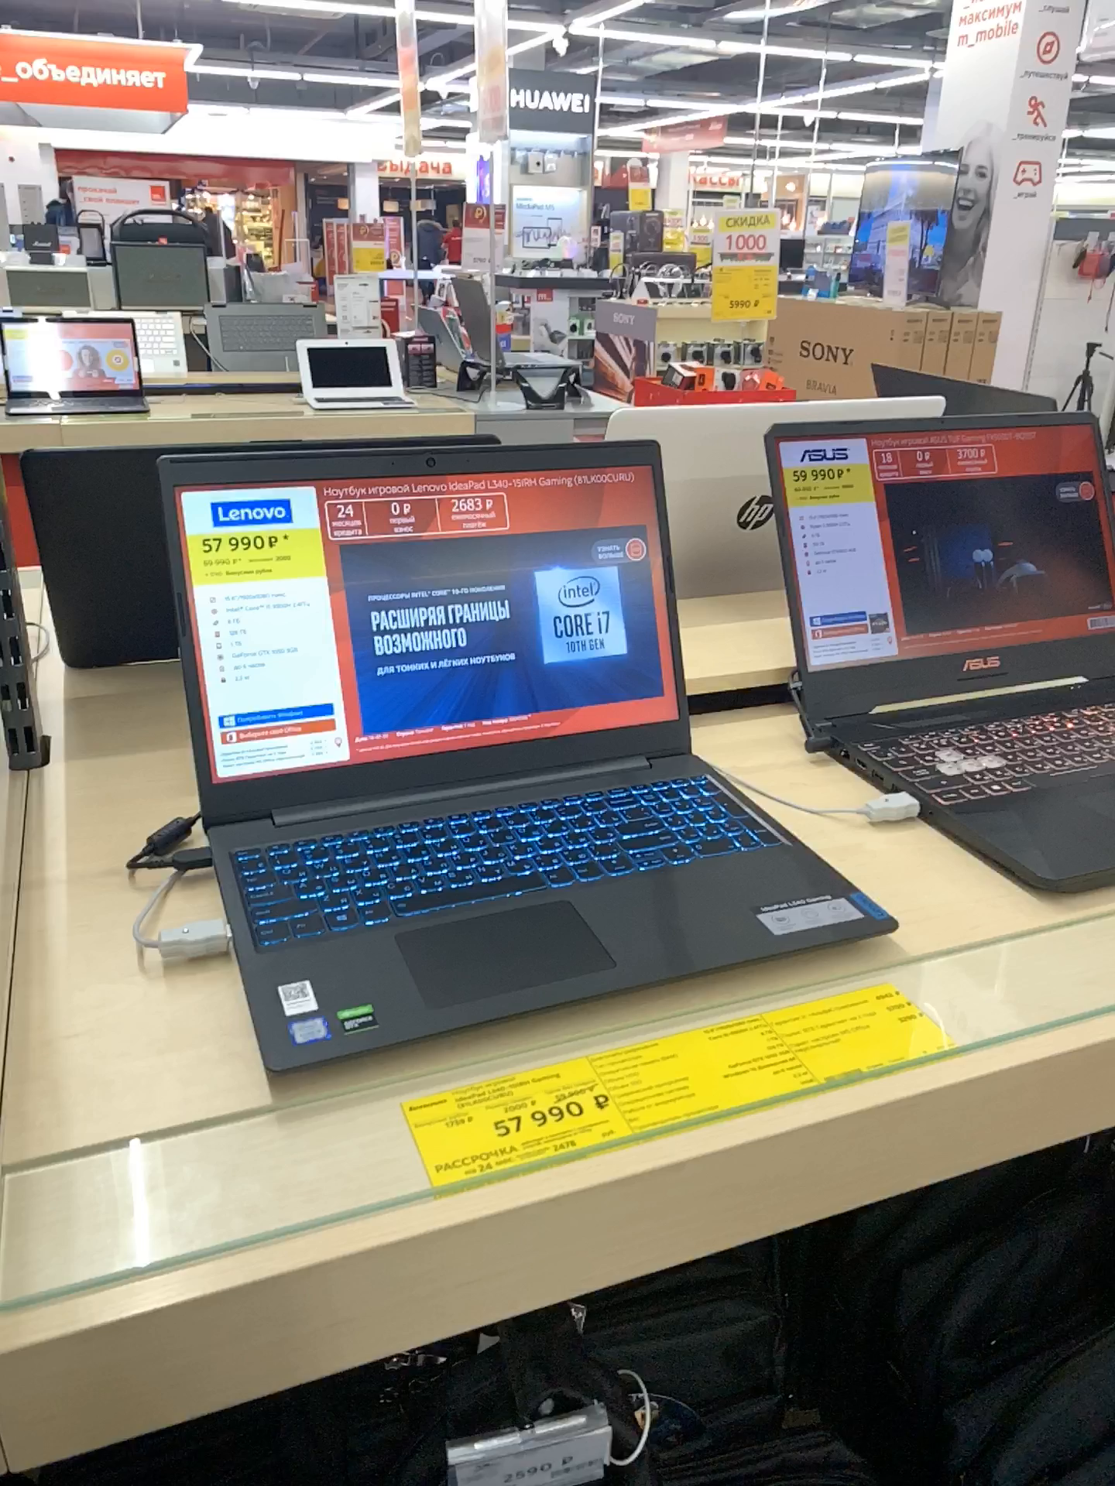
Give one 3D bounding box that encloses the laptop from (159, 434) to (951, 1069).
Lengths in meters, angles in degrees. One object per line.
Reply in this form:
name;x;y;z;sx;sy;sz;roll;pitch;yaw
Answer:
laptop;-0.032;-0.042;0.706;0.357;0.223;0.348;-8;26;-21
